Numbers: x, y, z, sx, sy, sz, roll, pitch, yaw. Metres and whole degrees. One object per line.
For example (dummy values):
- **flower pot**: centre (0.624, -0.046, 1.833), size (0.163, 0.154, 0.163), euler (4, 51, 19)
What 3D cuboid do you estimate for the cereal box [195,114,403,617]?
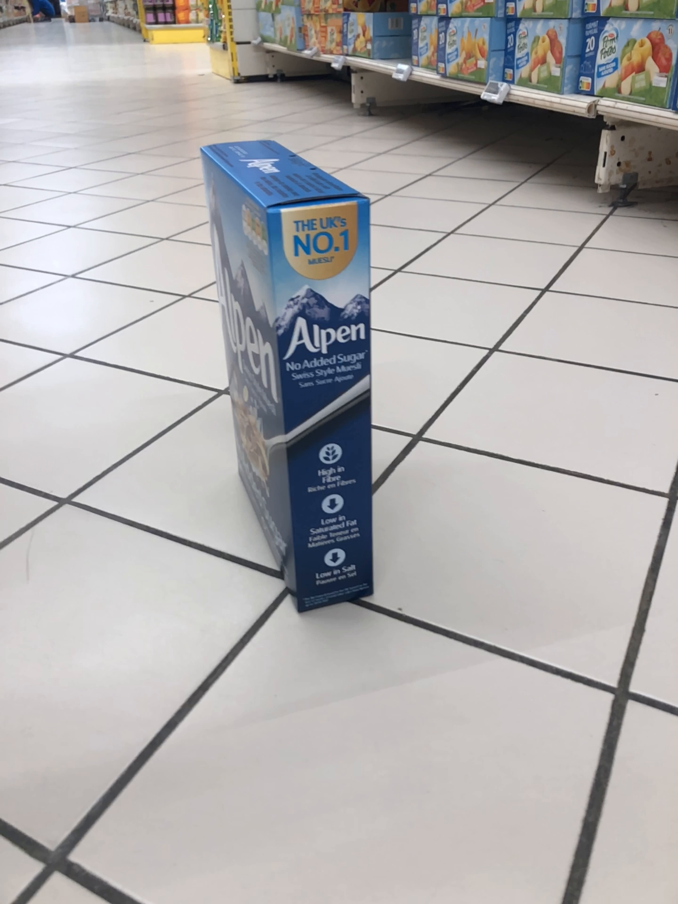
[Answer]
- **cereal box**: centre (-0.026, -0.057, 0.429), size (0.060, 0.229, 0.181), euler (-11, 32, -14)
